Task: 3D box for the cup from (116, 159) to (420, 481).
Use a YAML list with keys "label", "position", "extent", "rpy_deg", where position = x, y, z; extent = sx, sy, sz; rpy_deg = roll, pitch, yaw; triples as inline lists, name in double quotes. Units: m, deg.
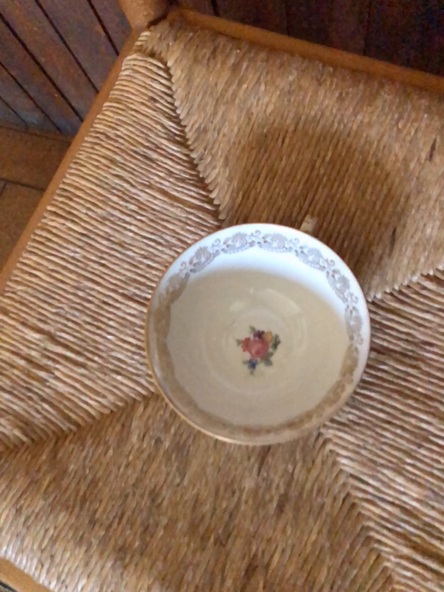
- label: "cup"
  position: [0.026, 0.010, 0.264]
  extent: [0.110, 0.050, 0.130]
  rpy_deg: [20, 81, 13]
